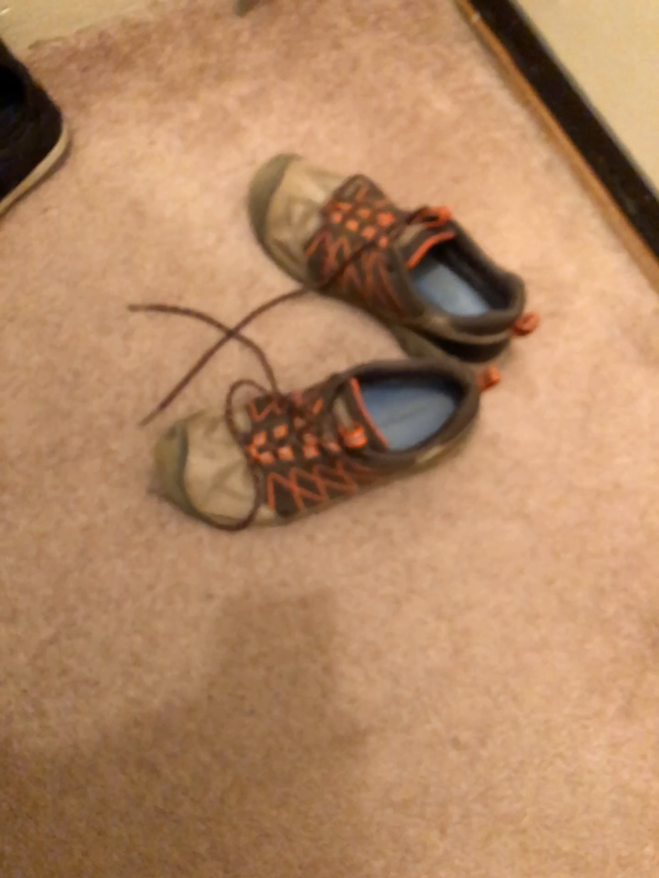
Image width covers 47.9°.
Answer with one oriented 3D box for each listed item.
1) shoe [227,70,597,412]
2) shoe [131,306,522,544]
[{"bbox_3d":[0.064,-0.174,0.686,0.300,0.130,0.120,34,74,2],"label":"shoe"},{"bbox_3d":[-0.008,-0.008,0.607,0.270,0.130,0.120,-10,77,-11],"label":"shoe"}]
